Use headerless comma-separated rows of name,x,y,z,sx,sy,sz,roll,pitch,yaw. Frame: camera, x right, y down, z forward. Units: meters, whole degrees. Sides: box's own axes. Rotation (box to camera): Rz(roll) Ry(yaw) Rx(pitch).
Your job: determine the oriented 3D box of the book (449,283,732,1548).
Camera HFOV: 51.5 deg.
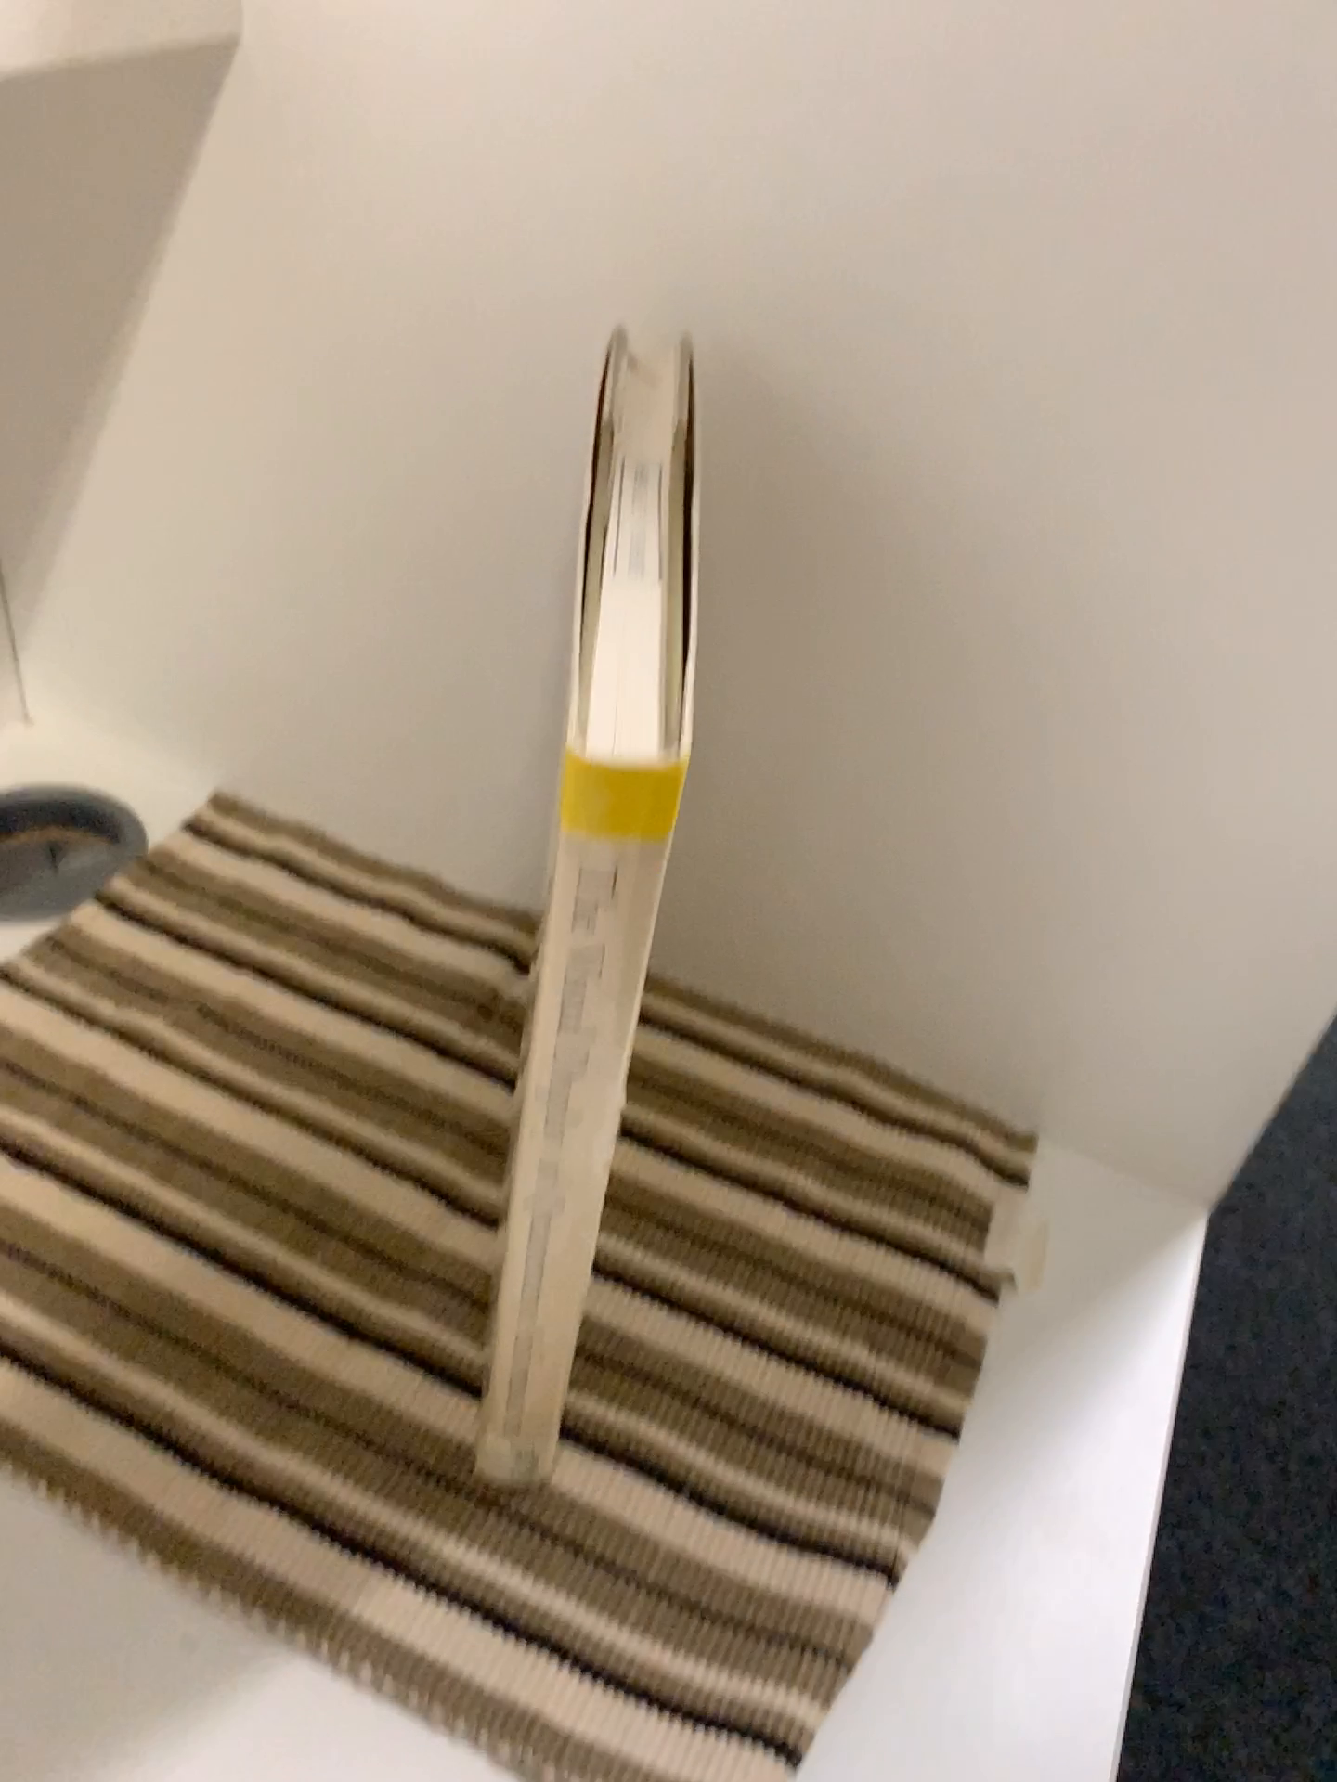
book,-0.026,0.006,0.421,0.040,0.287,0.252,6,40,-4
